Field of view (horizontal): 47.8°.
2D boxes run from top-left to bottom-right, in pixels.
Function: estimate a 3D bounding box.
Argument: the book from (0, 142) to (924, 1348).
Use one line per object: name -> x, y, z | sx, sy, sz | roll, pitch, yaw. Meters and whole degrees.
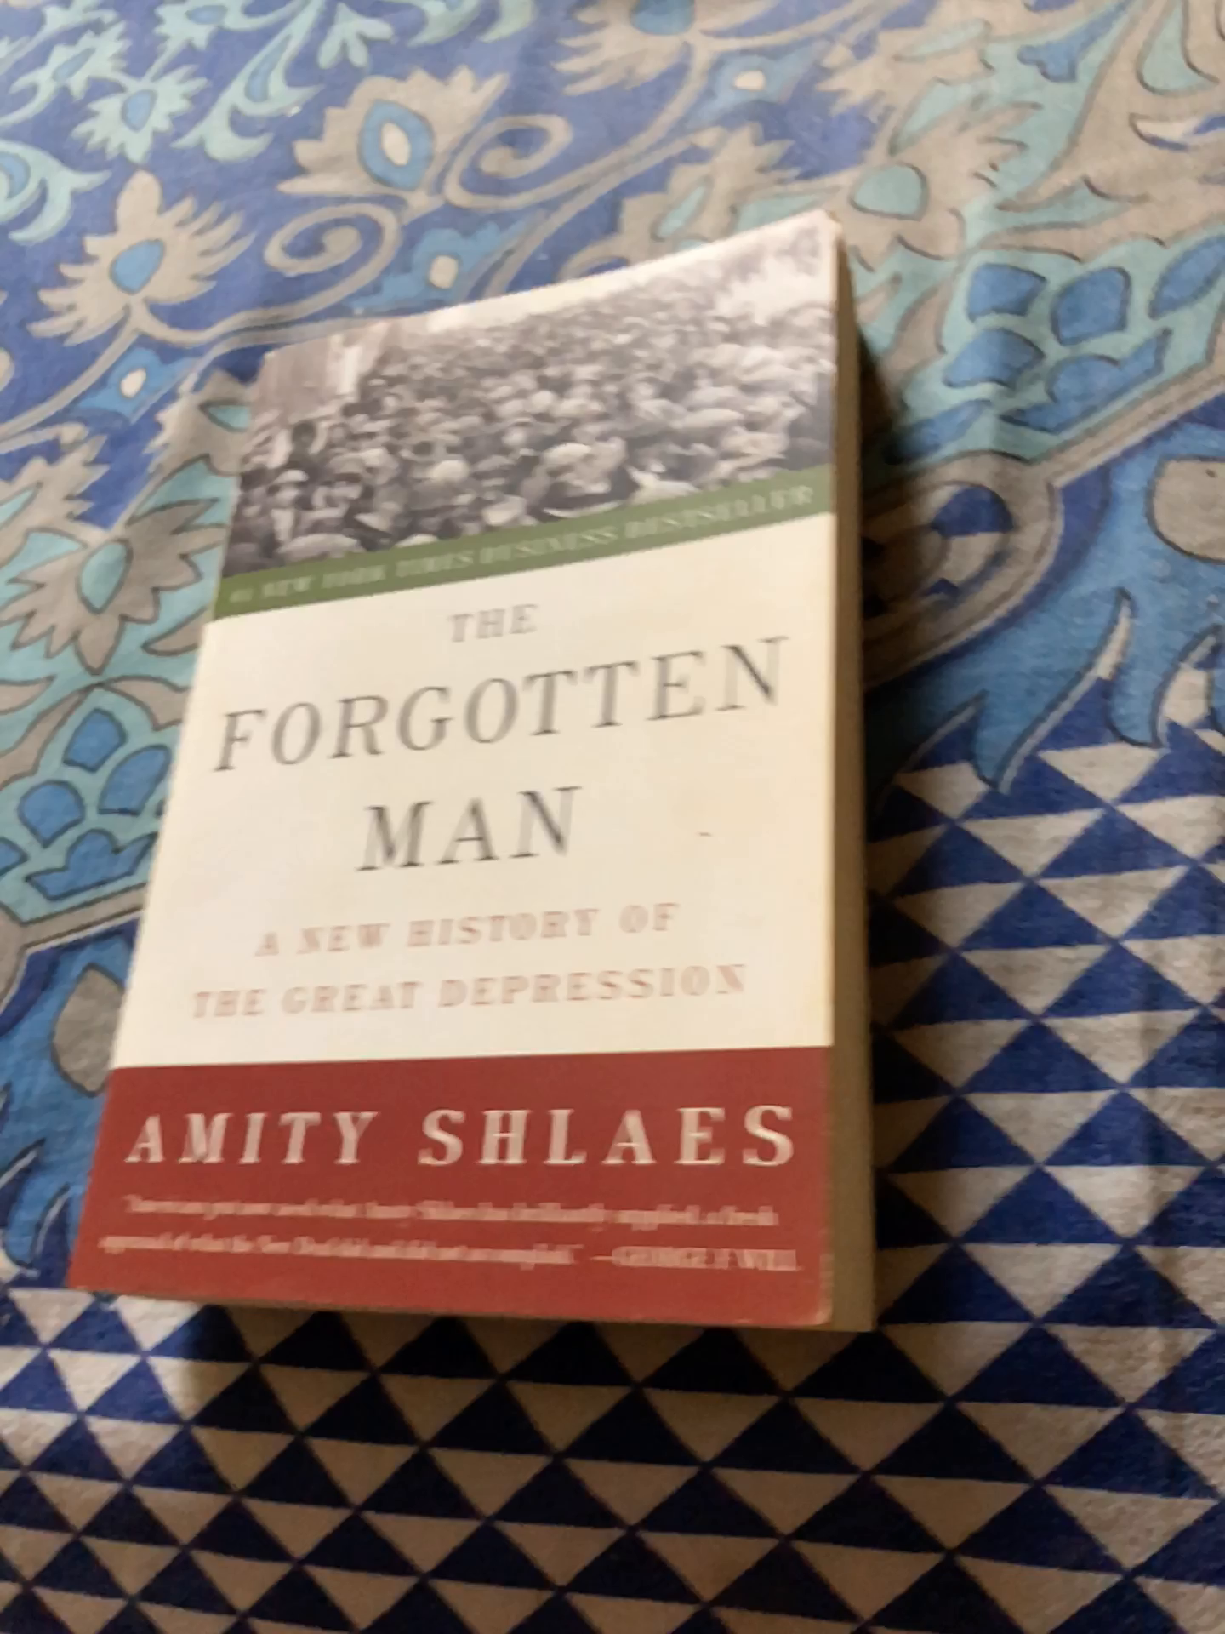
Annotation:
book -> -0.024, -0.012, 0.253 | 0.140, 0.050, 0.200 | -6, 66, 19
